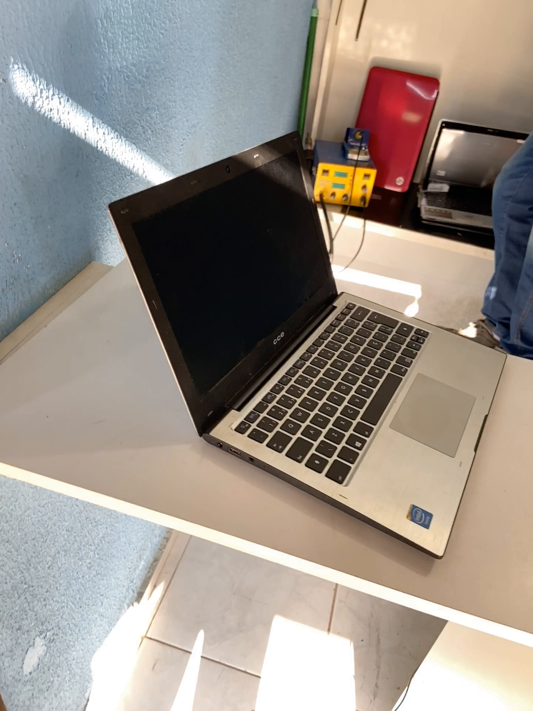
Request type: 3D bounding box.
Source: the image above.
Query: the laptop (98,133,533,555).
[{"bbox_3d":[0.074,-0.054,0.520,0.303,0.181,0.315,23,38,19],"label":"laptop"}]
